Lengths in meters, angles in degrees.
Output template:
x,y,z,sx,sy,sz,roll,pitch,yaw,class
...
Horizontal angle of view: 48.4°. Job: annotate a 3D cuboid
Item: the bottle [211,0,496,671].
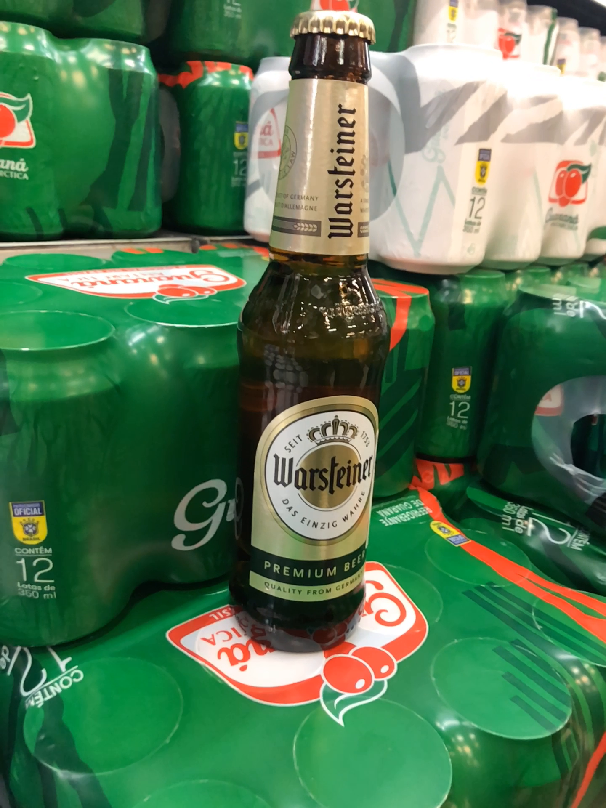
x,y,z,sx,sy,sz,roll,pitch,yaw,class
0.007,-0.019,0.249,0.070,0.229,0.060,0,20,-13,bottle
